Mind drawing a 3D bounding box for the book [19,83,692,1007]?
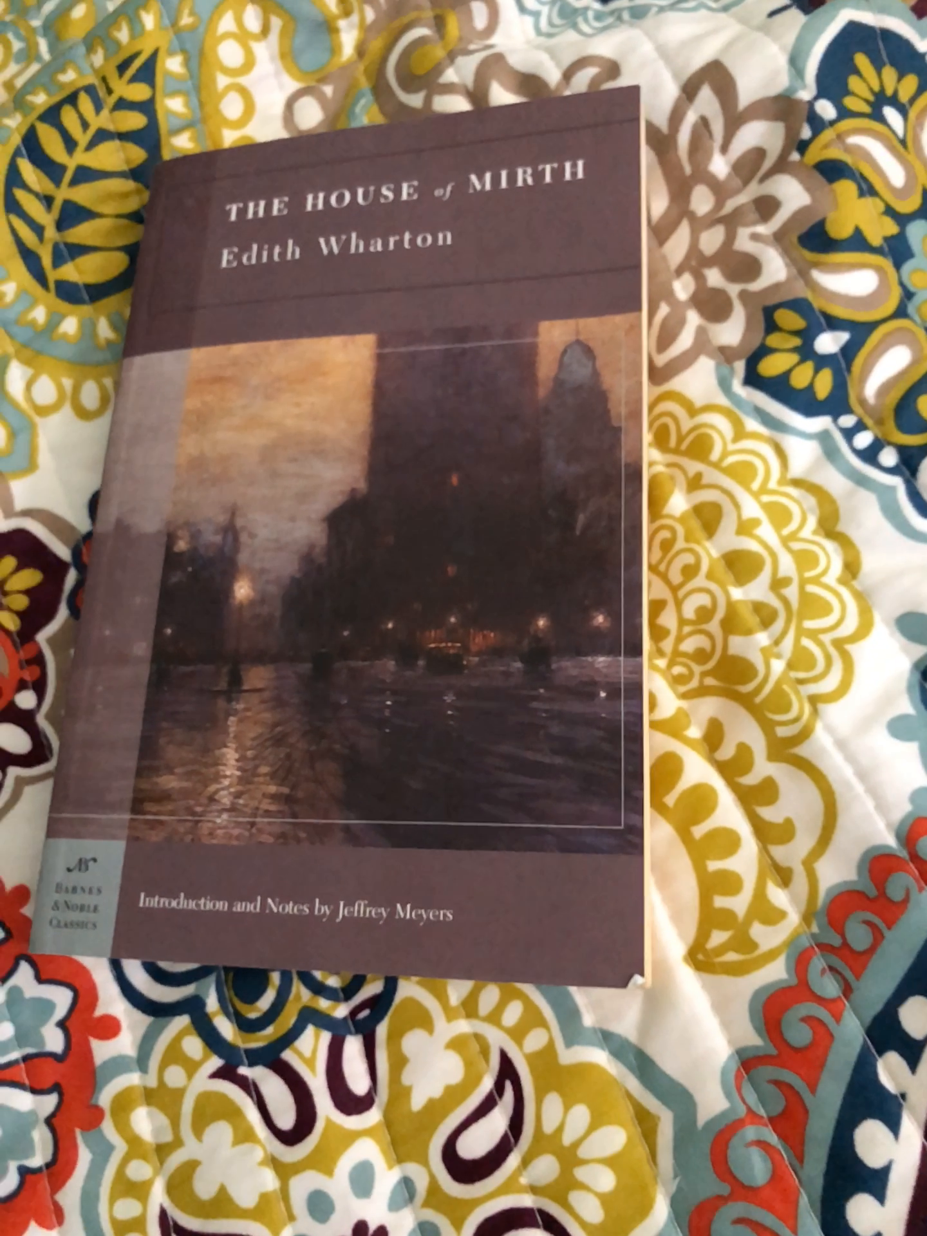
[{"bbox_3d":[-0.021,-0.018,0.248,0.141,0.040,0.195,-2,77,15],"label":"book"}]
